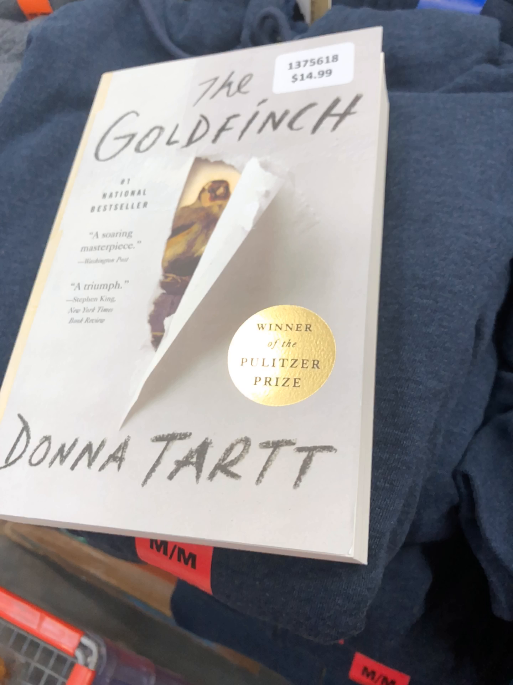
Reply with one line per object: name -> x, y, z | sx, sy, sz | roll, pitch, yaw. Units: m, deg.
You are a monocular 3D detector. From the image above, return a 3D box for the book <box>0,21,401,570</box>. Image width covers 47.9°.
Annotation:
book -> -0.023, -0.031, 0.251 | 0.158, 0.041, 0.222 | 0, 65, 18
